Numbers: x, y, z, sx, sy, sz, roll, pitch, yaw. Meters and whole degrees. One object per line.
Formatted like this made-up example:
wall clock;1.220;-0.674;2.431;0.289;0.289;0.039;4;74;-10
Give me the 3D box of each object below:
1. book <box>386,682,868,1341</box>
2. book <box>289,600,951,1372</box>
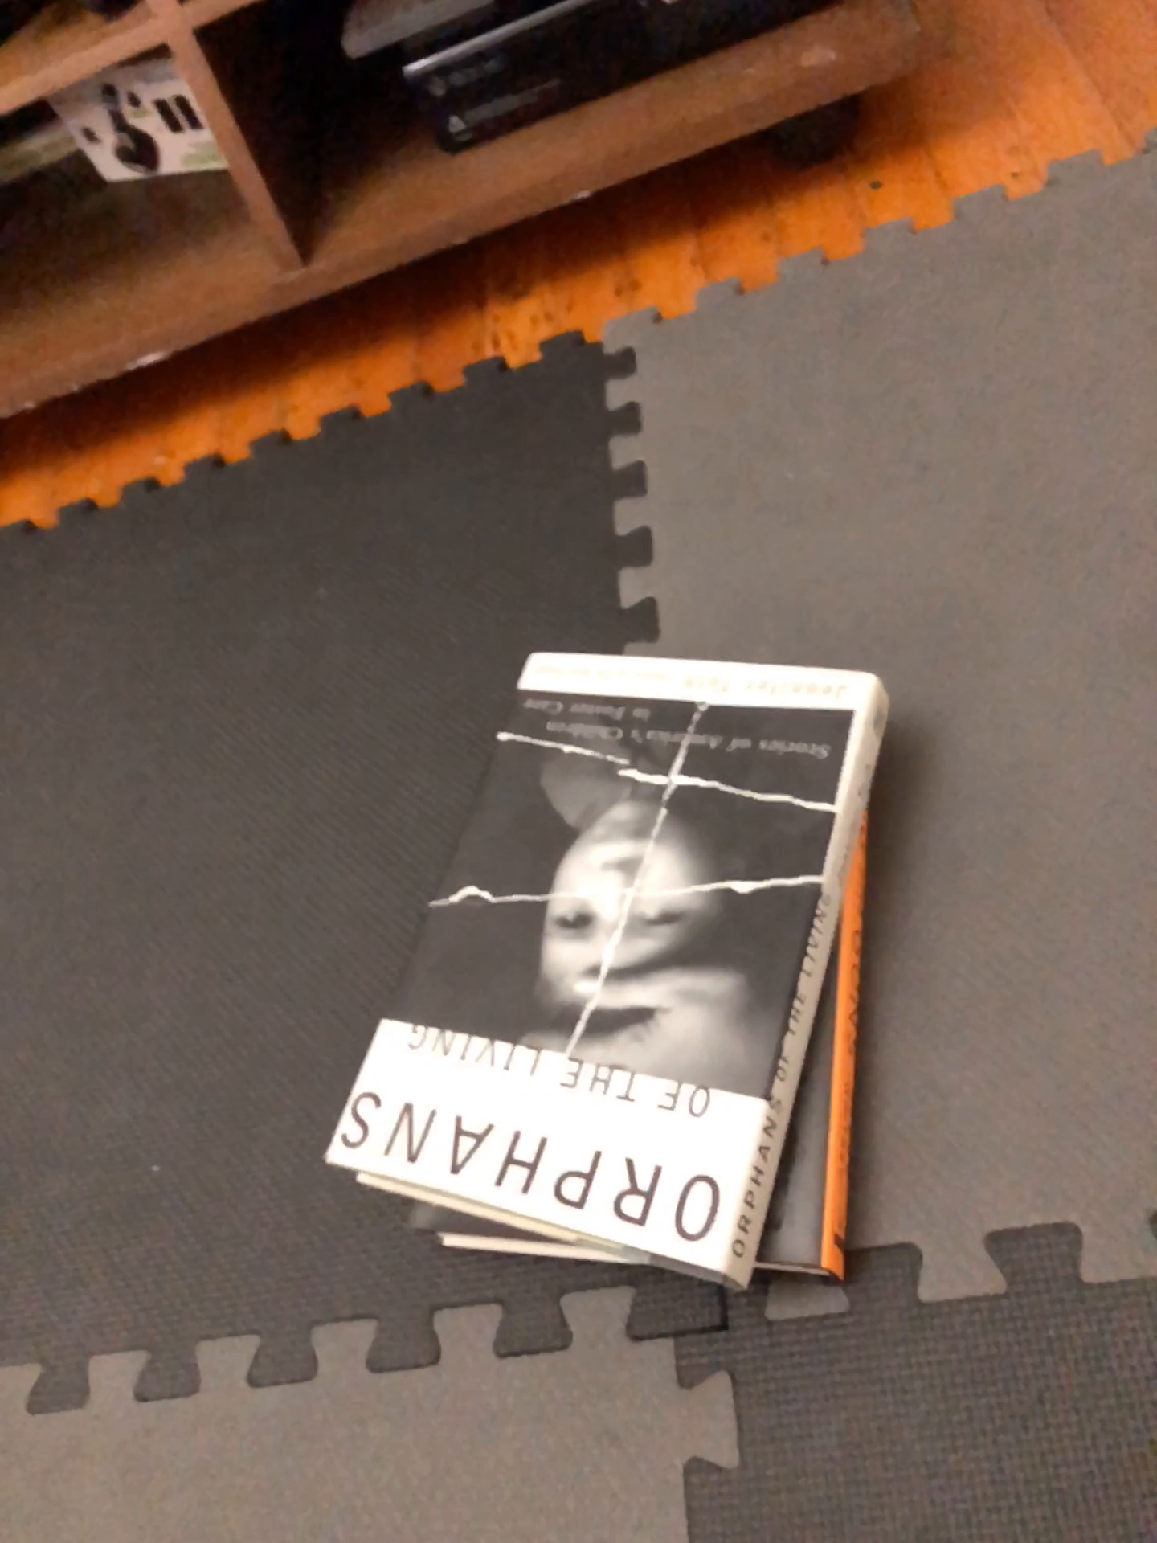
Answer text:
book;0.028;0.081;0.510;0.160;0.030;0.251;-5;55;22
book;0.025;0.054;0.492;0.180;0.030;0.281;5;59;28
